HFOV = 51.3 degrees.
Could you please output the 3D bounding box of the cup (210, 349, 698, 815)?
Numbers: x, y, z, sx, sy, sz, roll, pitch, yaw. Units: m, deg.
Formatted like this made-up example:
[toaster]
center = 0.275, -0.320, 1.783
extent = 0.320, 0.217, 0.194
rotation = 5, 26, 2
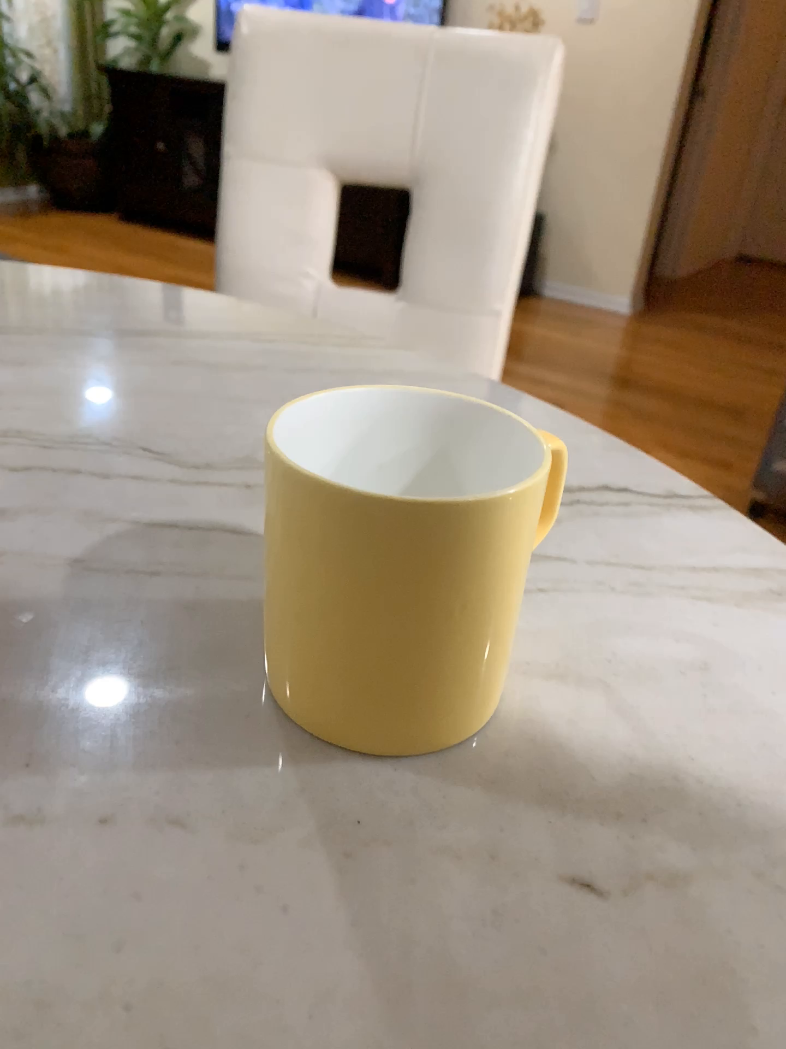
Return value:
[cup]
center = 0.016, 0.005, 0.232
extent = 0.110, 0.074, 0.075
rotation = -22, 39, -40
